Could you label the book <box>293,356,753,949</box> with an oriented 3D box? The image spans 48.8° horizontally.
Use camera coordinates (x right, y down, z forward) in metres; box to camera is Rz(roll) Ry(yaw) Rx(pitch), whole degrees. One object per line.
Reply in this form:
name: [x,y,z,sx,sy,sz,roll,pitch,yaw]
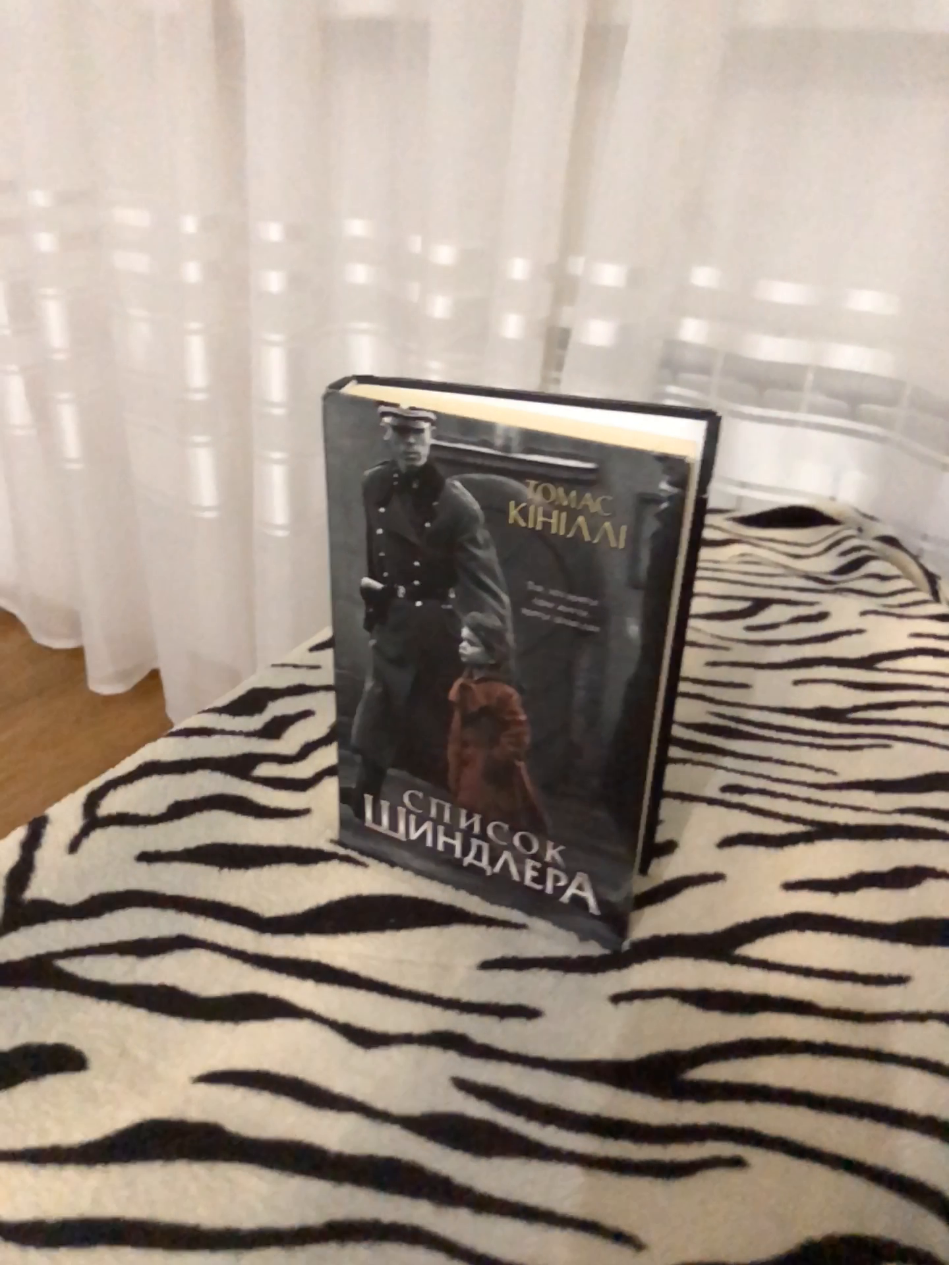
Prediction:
book: [0.012,0.007,0.396,0.144,0.191,0.057,13,30,19]
